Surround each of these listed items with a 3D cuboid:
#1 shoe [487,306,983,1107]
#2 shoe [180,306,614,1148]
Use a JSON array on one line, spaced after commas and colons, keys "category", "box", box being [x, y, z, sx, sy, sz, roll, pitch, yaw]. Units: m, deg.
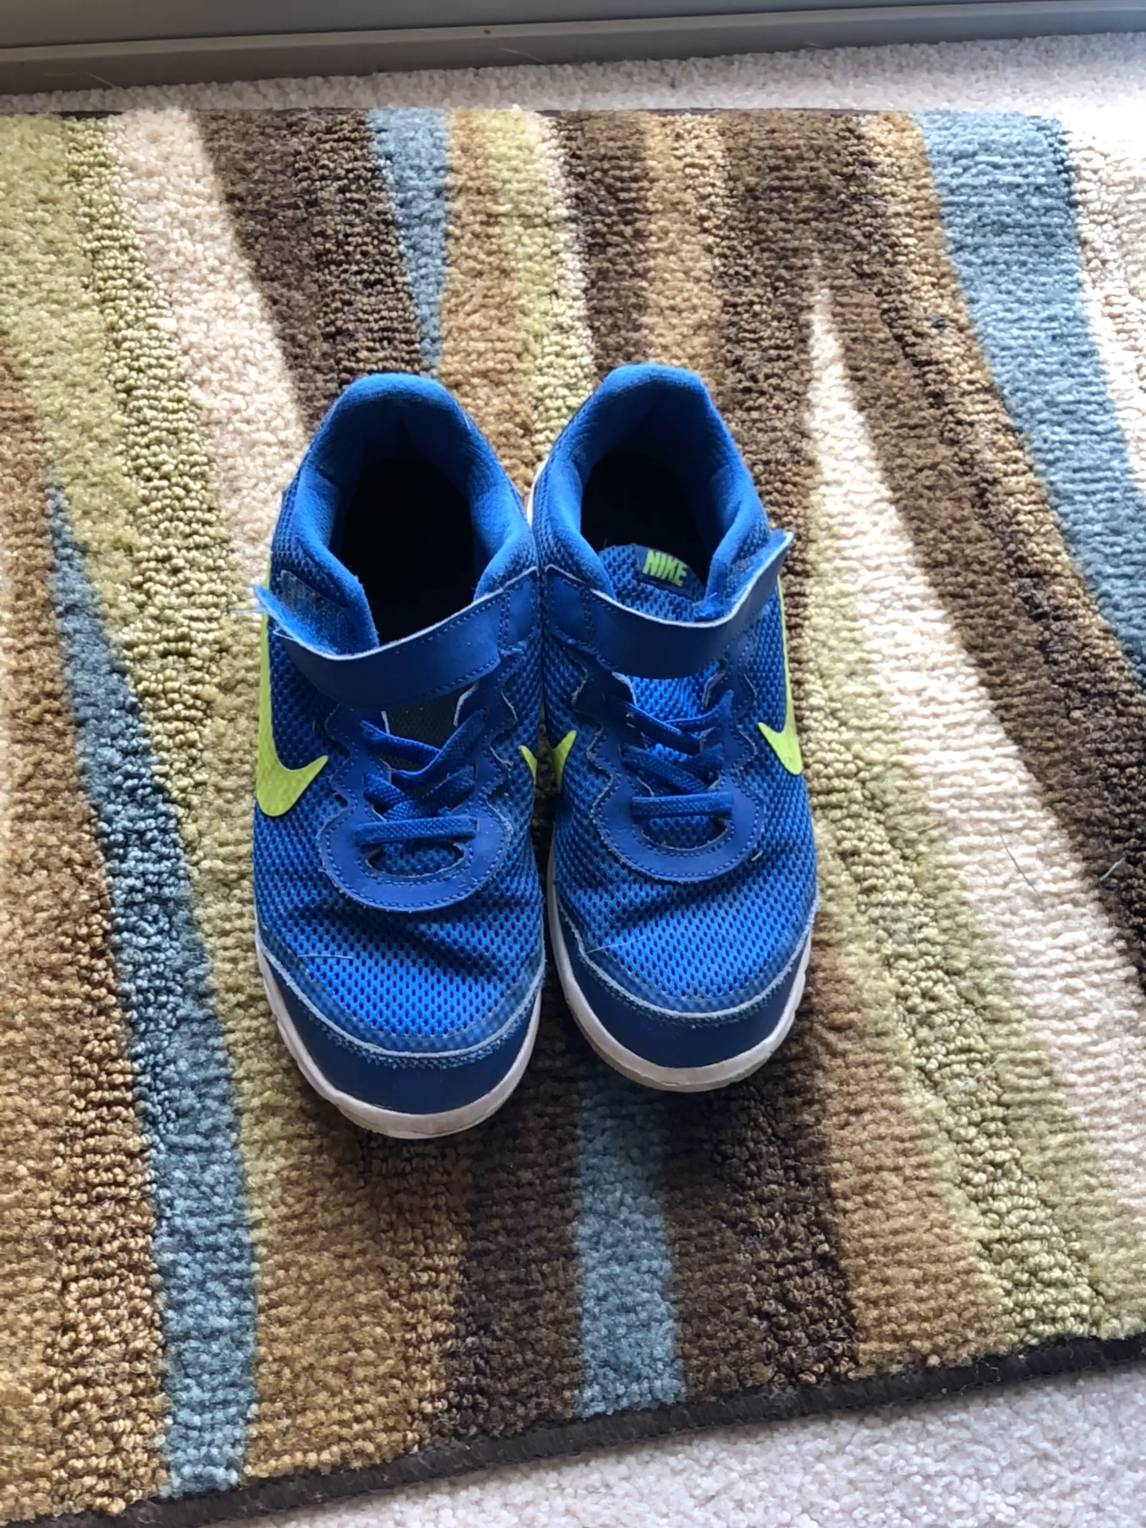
[{"category": "shoe", "box": [0.037, -0.021, 0.390, 0.103, 0.075, 0.231, -3, 70, -10]}, {"category": "shoe", "box": [-0.051, -0.012, 0.375, 0.102, 0.075, 0.233, 0, 70, -8]}]
